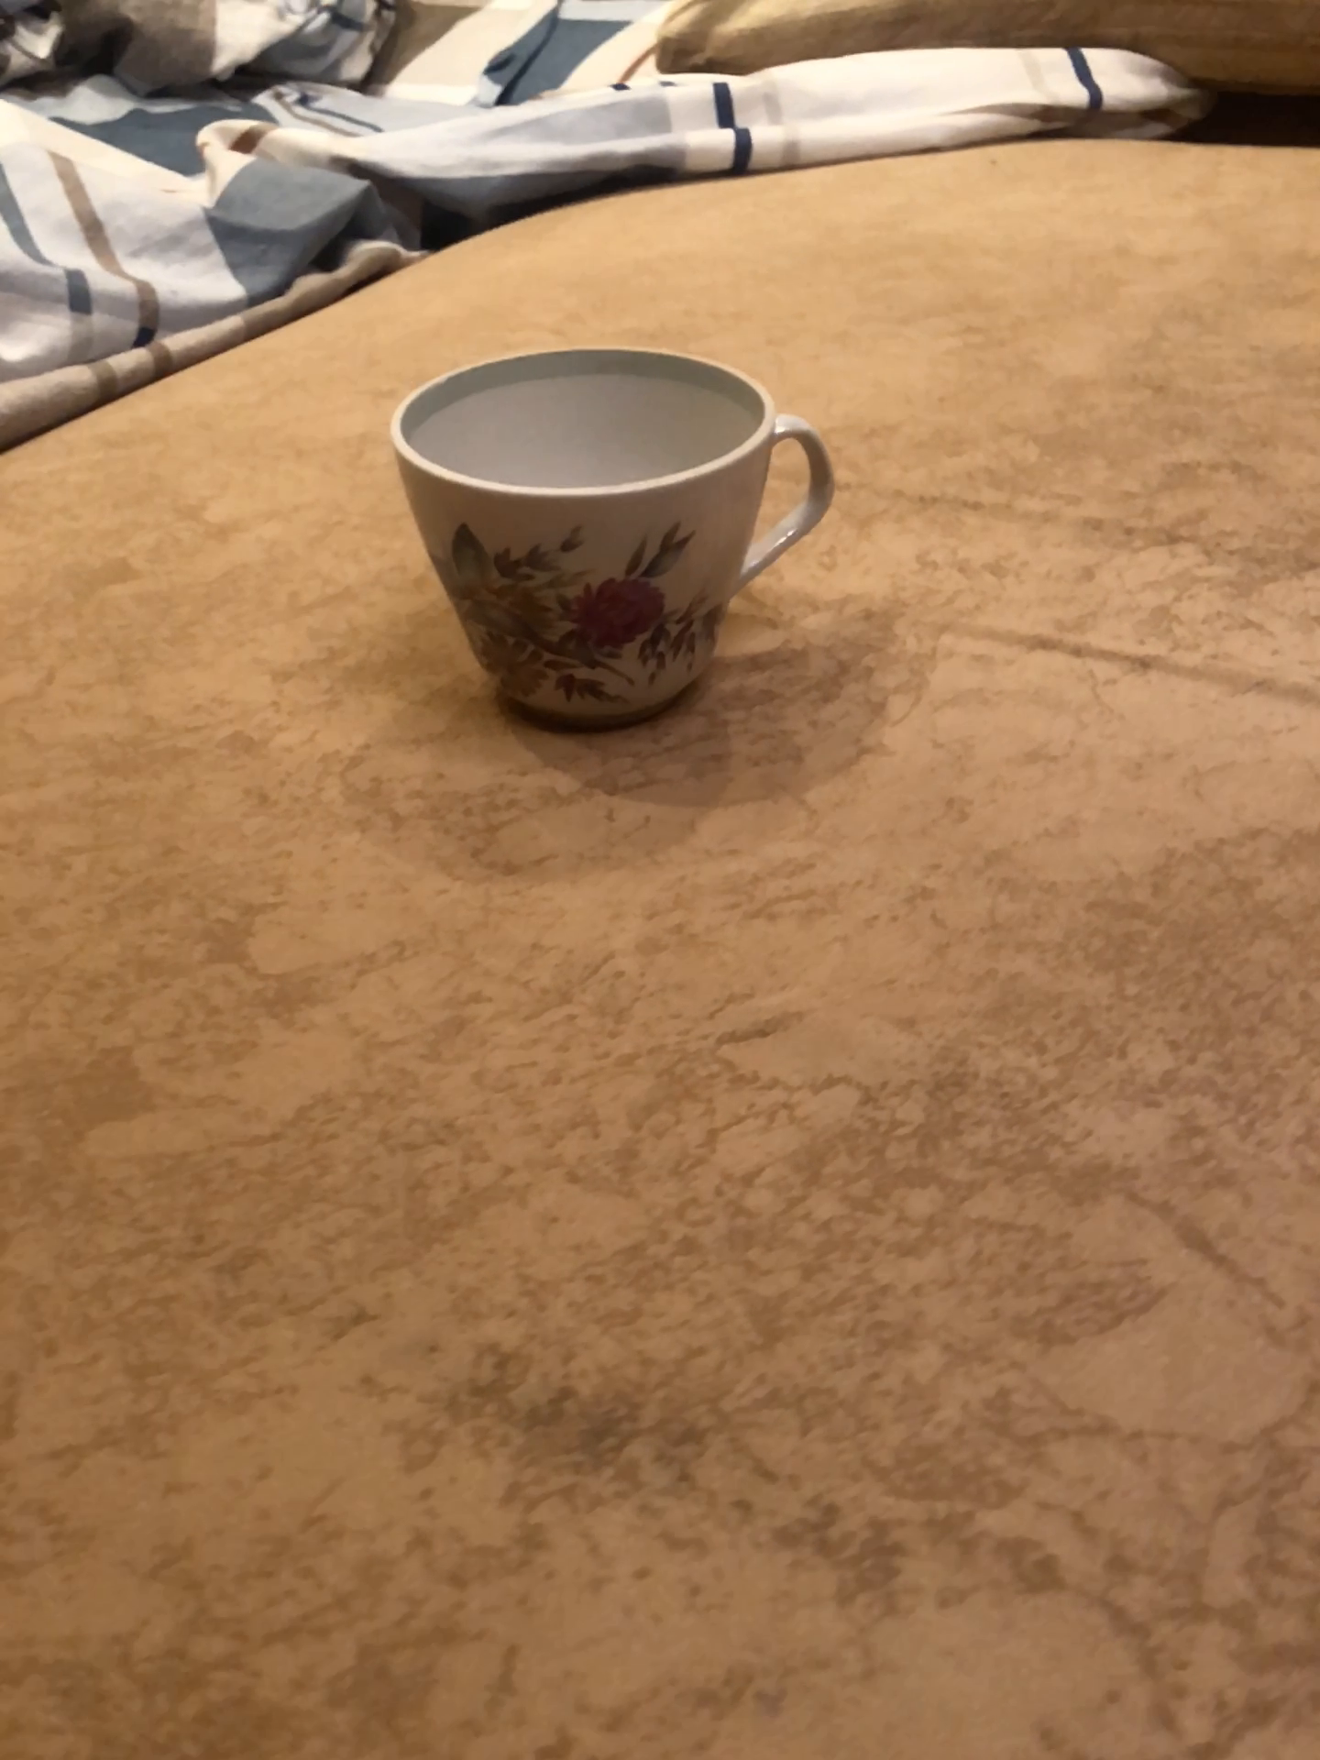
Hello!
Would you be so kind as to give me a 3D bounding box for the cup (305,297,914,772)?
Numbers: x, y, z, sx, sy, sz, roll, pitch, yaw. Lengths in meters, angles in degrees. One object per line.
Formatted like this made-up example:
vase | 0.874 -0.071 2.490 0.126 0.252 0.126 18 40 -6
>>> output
cup | -0.013 -0.089 0.353 0.110 0.060 0.090 -20 42 -21
